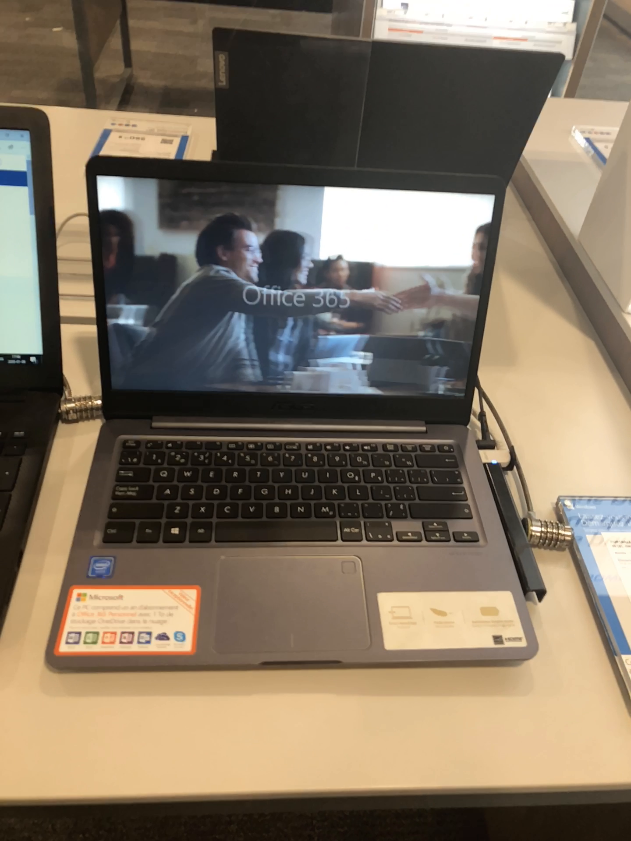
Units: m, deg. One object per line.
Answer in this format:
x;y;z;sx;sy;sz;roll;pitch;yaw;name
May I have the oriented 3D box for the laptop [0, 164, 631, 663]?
-0.009;-0.018;0.492;0.316;0.196;0.292;1;44;-5;laptop
